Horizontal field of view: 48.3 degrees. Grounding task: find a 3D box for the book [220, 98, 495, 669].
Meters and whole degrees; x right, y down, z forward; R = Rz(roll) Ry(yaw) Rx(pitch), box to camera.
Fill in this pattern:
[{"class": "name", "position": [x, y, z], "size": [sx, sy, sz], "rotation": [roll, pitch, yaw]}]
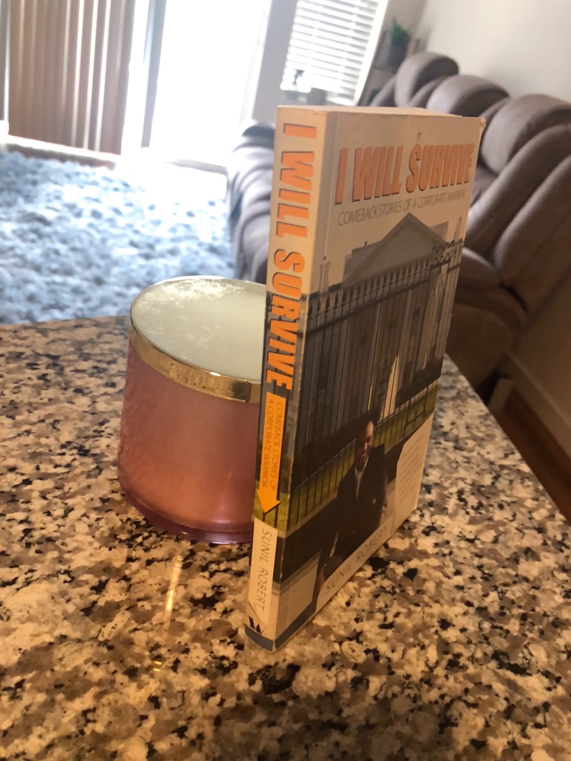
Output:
[{"class": "book", "position": [0.031, -0.006, 0.257], "size": [0.032, 0.191, 0.135], "rotation": [18, 27, 29]}]
